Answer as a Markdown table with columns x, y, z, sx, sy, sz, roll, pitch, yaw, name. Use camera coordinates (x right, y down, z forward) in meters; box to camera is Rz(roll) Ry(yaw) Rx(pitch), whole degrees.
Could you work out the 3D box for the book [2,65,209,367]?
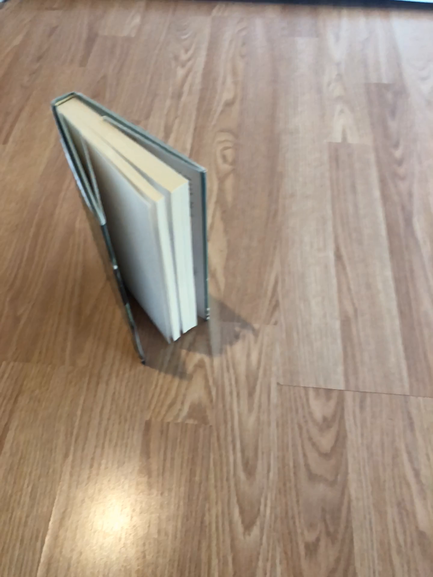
| x | y | z | sx | sy | sz | roll | pitch | yaw | name |
| --- | --- | --- | --- | --- | --- | --- | --- | --- | --- |
| -0.085 | -0.051 | 0.433 | 0.080 | 0.220 | 0.150 | -32 | 63 | -18 | book |
